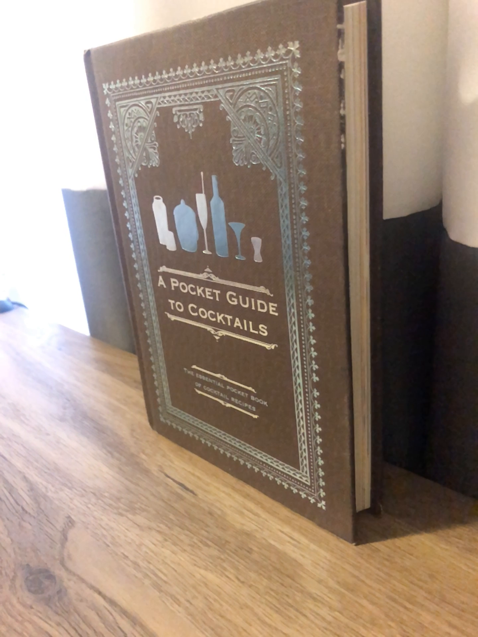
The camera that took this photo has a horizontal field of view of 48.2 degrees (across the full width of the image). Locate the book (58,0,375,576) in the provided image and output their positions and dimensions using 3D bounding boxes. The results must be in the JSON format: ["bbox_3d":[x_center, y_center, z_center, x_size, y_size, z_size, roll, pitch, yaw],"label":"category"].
[{"bbox_3d":[-0.011,-0.012,0.221,0.022,0.200,0.137,-24,27,-39],"label":"book"}]
